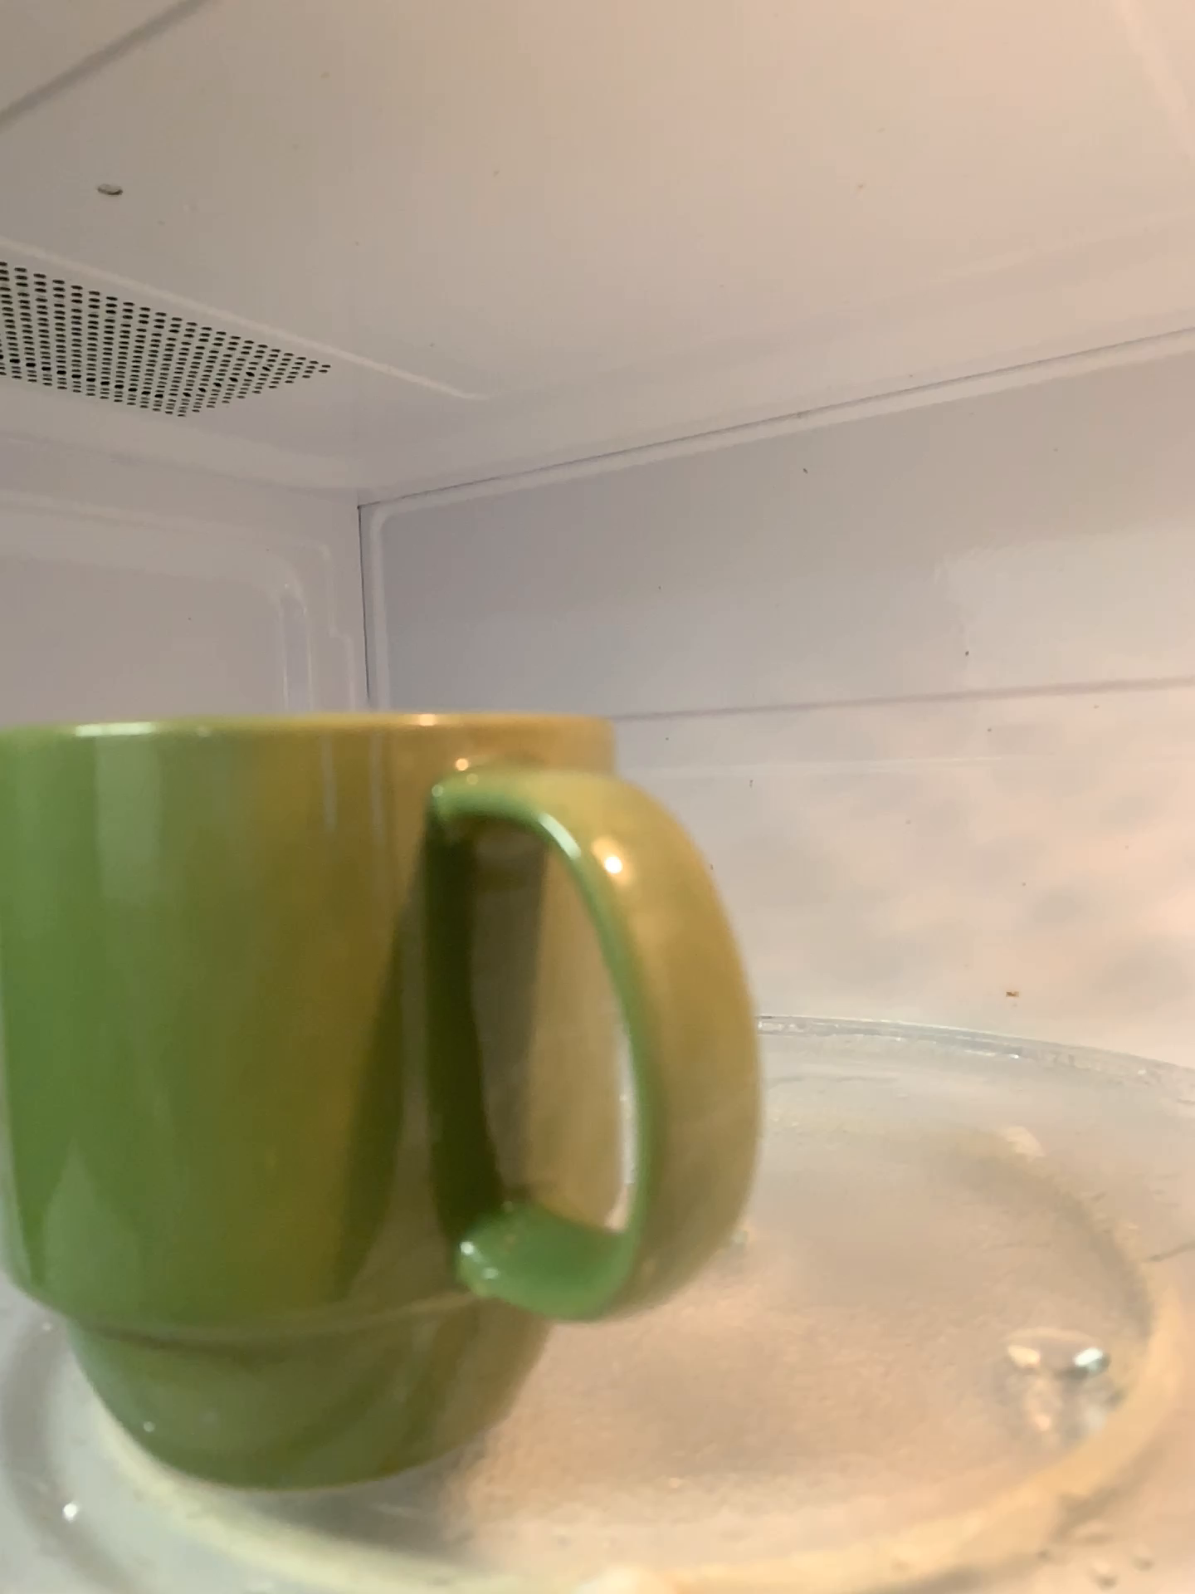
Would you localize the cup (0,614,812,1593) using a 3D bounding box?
[{"bbox_3d":[-0.051,0.031,0.157,0.080,0.090,0.130,-4,2,-44],"label":"cup"}]
